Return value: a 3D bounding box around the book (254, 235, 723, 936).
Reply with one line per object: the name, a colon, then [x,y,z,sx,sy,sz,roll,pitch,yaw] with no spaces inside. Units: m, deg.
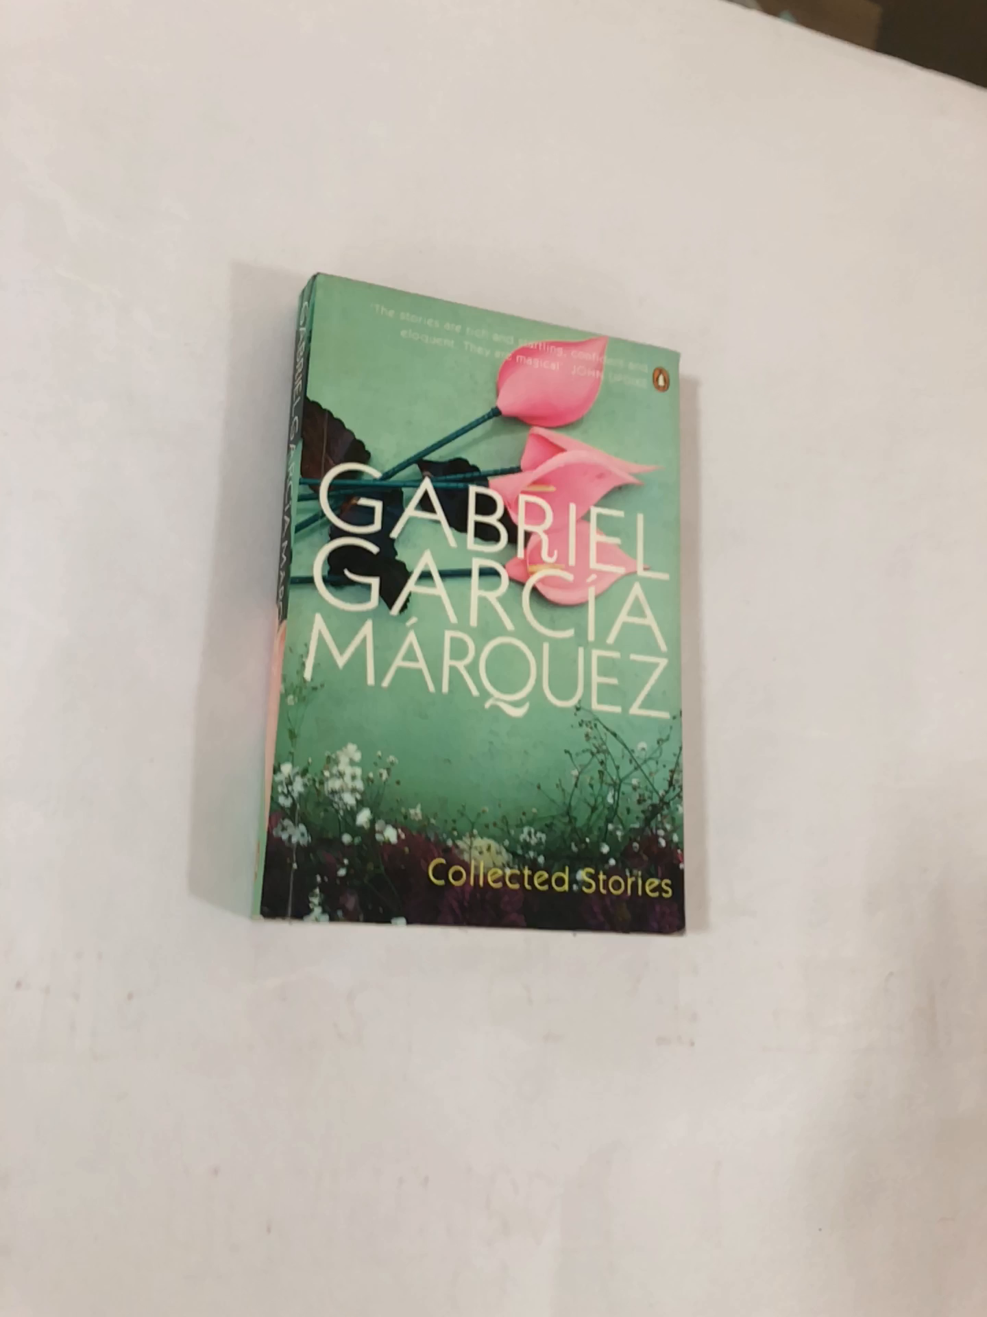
book: [0.002,-0.020,0.339,0.130,0.030,0.200,7,74,-18]
